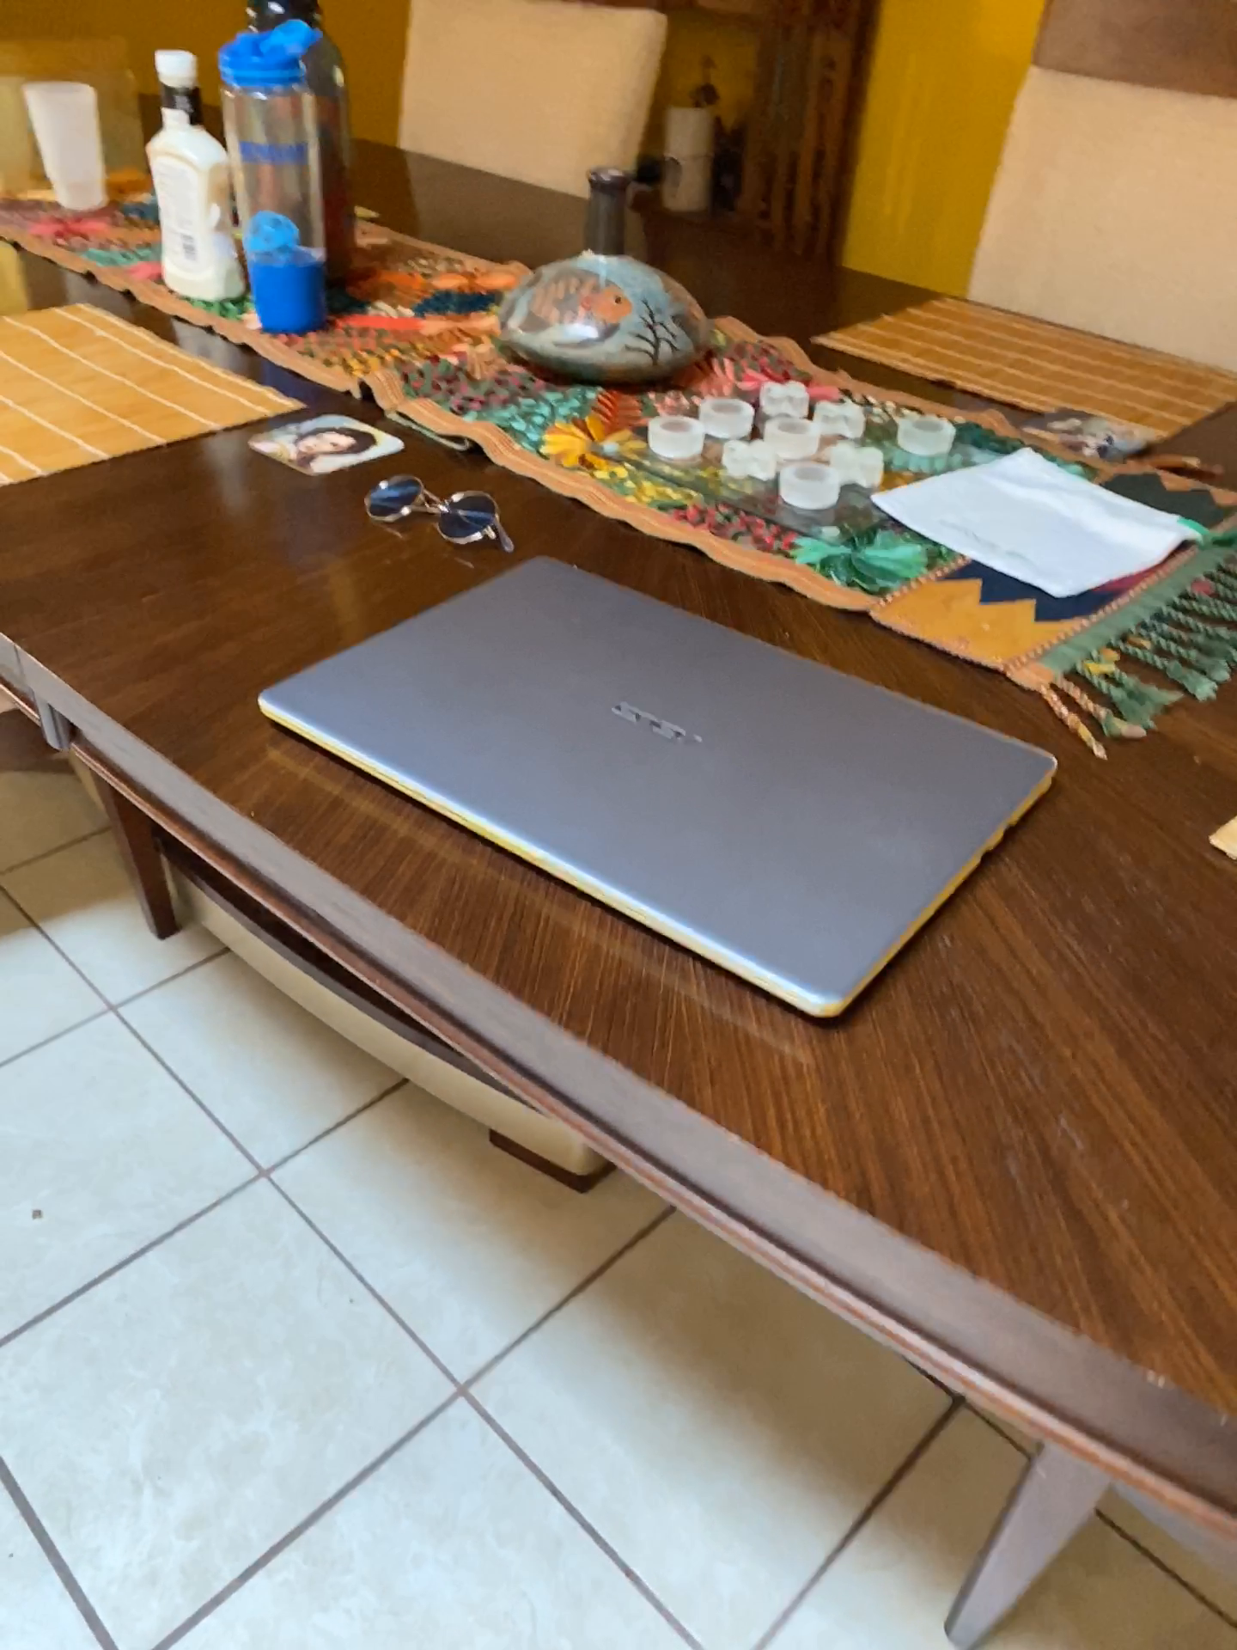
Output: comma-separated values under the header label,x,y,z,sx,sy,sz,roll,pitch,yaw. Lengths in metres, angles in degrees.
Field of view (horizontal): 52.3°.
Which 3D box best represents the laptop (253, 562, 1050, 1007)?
label,x,y,z,sx,sy,sz,roll,pitch,yaw
laptop,0.017,-0.052,0.725,0.383,0.001,0.247,27,43,27
